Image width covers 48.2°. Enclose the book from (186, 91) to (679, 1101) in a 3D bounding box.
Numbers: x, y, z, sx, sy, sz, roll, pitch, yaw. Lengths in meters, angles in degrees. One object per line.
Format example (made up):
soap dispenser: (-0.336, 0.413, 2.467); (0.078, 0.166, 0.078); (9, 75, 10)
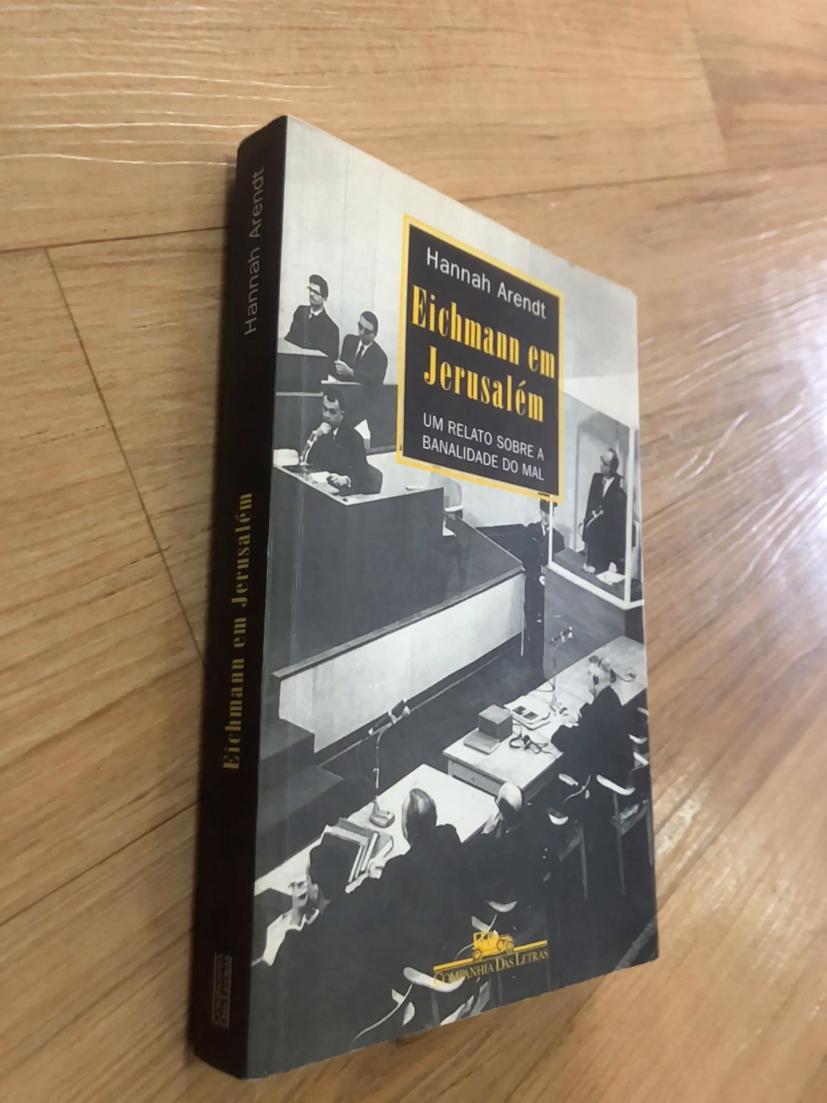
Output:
book: (0.016, 0.009, 0.241); (0.145, 0.023, 0.202); (9, 77, -43)
